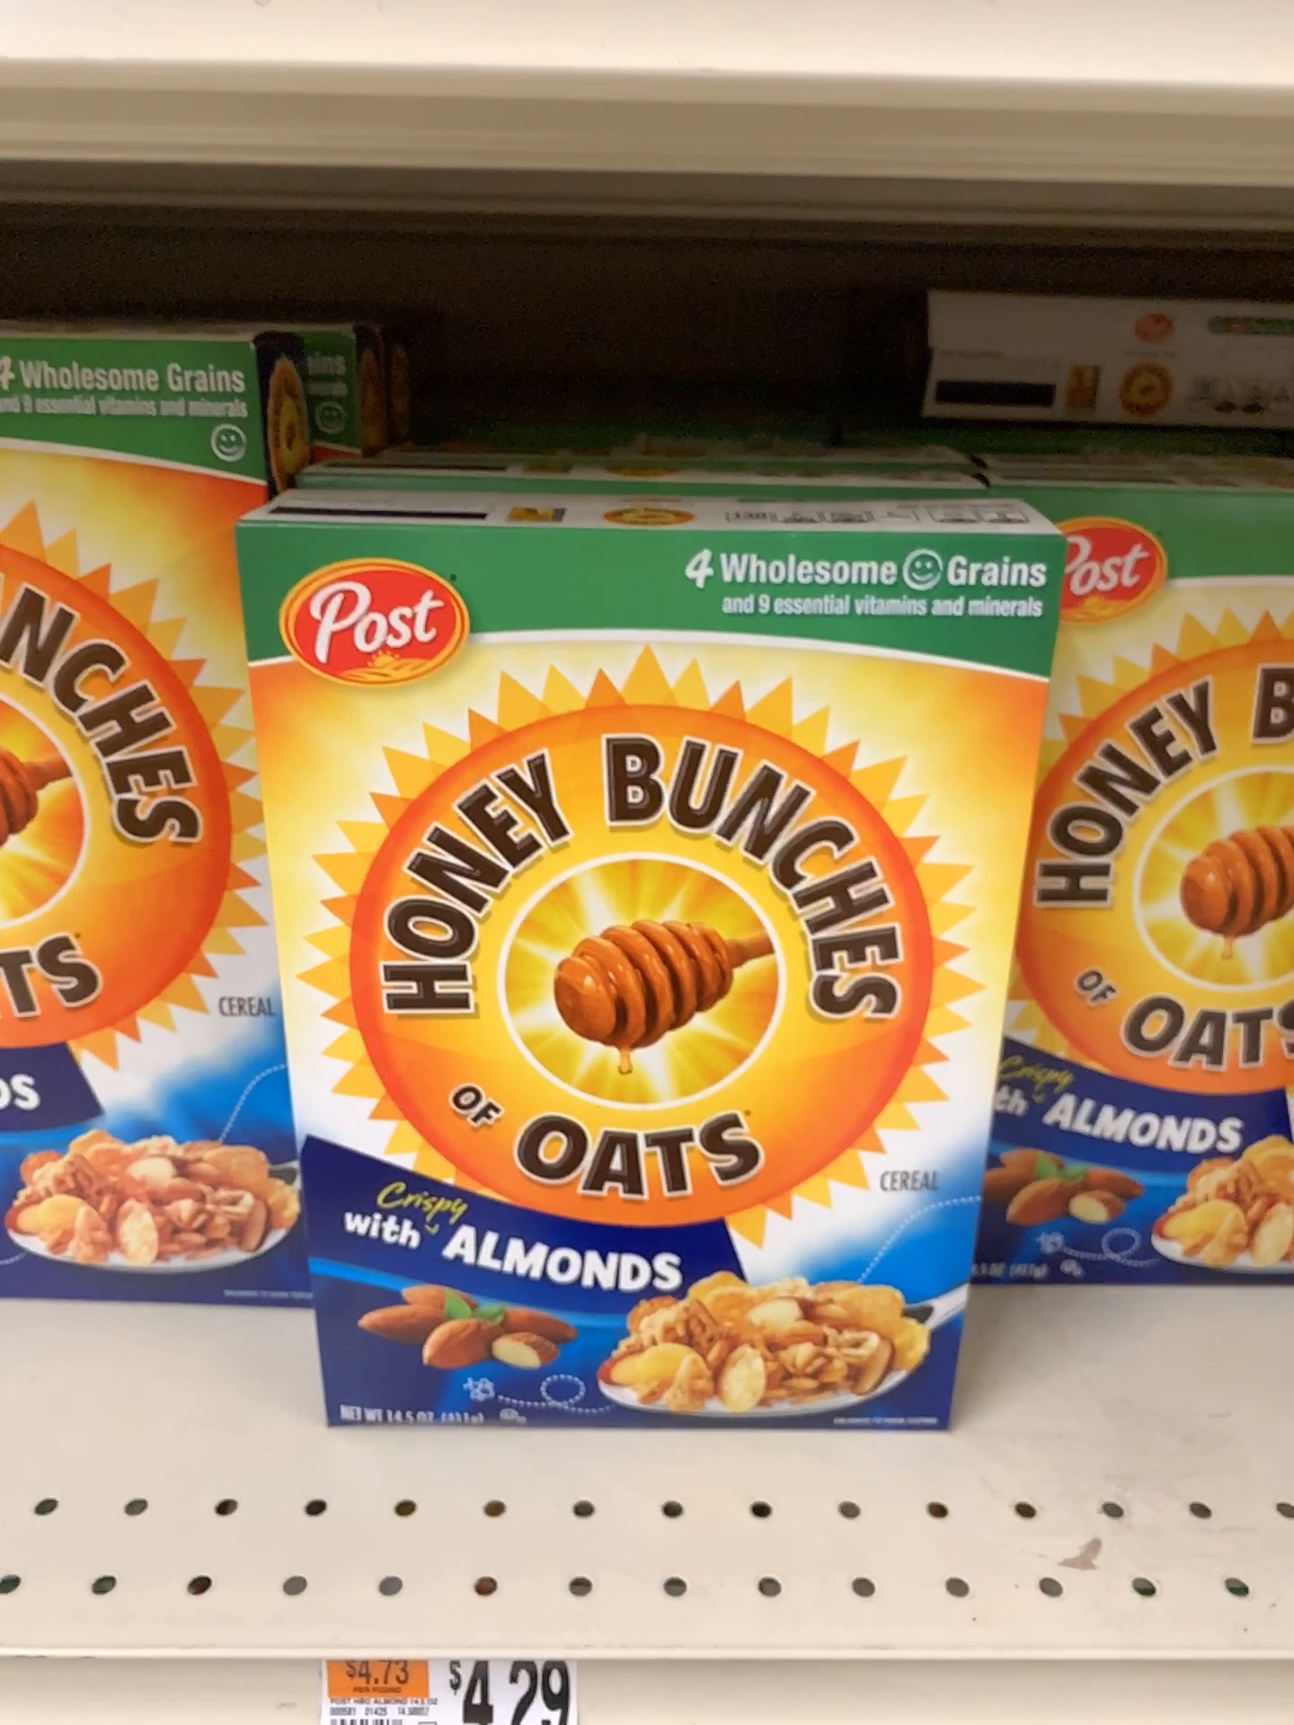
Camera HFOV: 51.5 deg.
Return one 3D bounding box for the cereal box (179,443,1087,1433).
[{"bbox_3d":[-0.005,0.032,0.378,0.200,0.279,0.060,1,23,0],"label":"cereal box"}]
